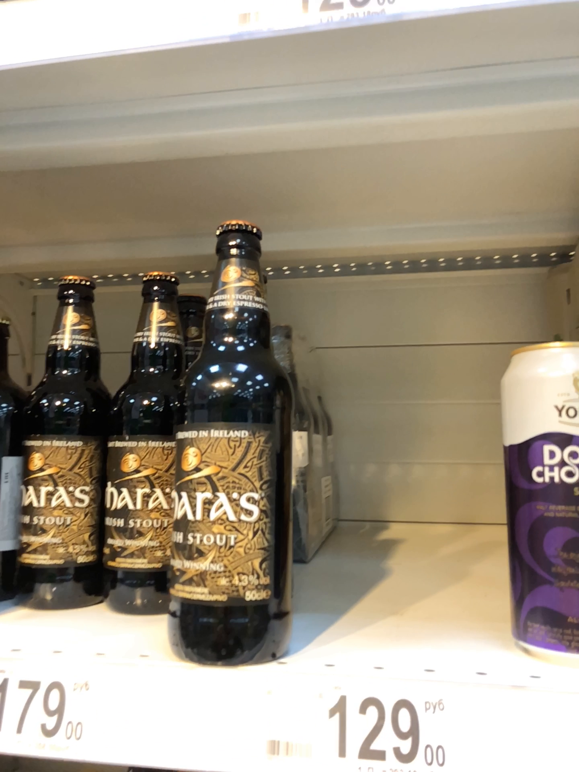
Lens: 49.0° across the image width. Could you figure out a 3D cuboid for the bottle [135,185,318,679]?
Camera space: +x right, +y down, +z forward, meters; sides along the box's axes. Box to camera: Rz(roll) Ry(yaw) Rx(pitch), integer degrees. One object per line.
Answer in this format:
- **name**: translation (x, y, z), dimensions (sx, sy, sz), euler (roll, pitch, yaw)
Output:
- **bottle**: translation (-0.033, 0.022, 0.358), dimensions (0.070, 0.240, 0.070), euler (0, -6, 0)
